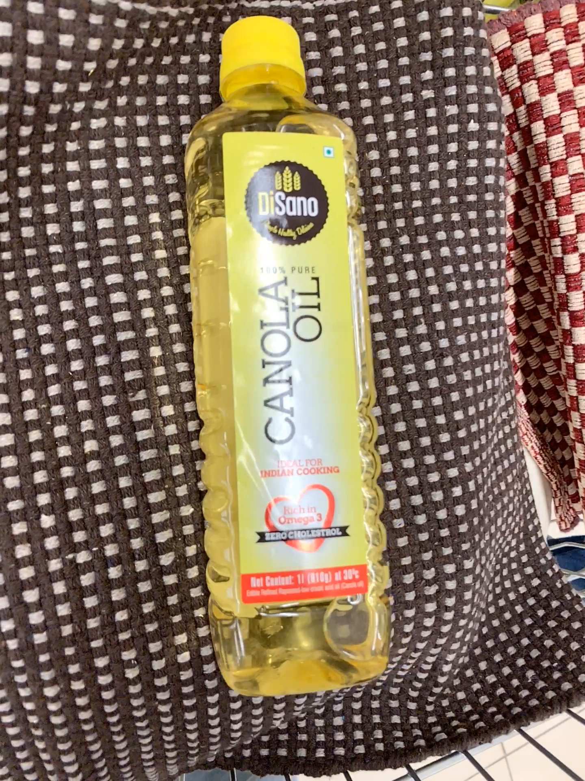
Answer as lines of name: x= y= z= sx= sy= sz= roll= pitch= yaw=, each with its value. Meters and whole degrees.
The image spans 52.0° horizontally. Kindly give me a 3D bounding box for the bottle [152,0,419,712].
bottle: x=-0.007 y=-0.034 z=0.211 sx=0.070 sy=0.060 sz=0.250 roll=-2 pitch=86 yaw=-8
